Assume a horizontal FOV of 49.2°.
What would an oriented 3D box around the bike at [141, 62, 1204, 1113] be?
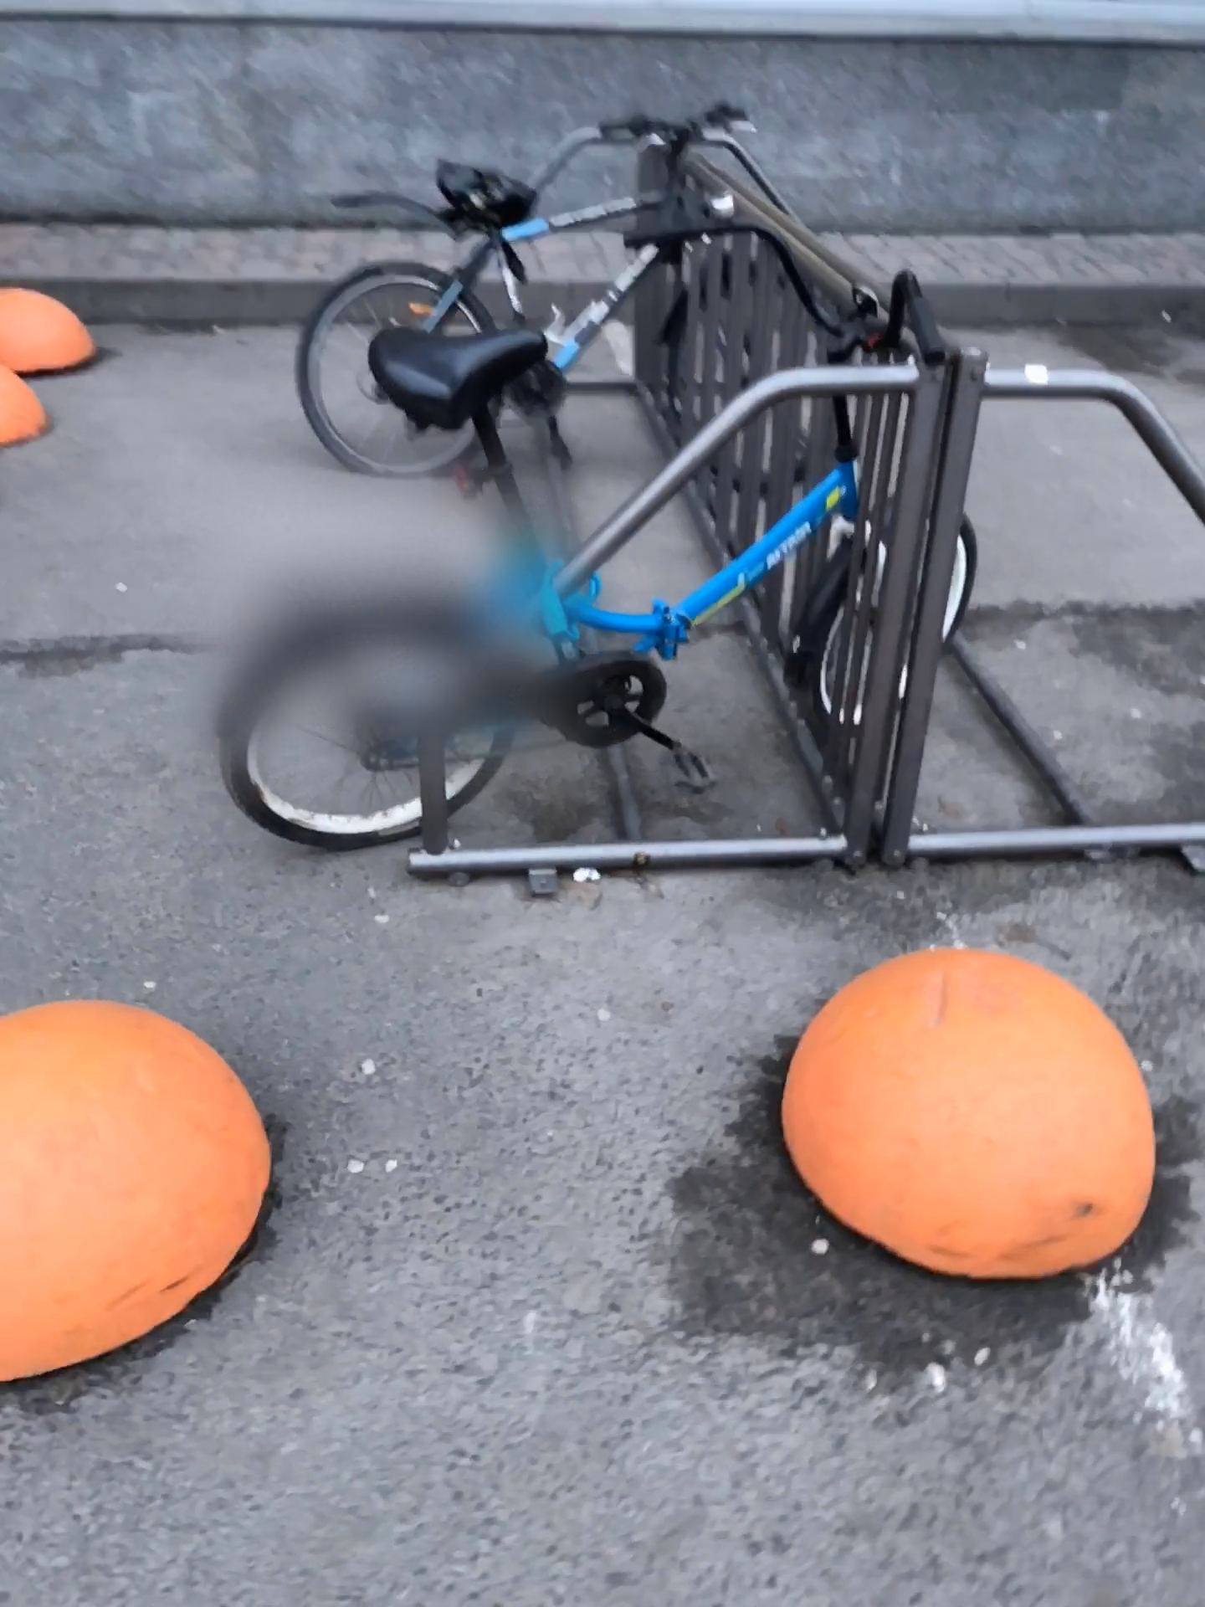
[{"bbox_3d":[0.149,-0.404,2.008,1.422,0.991,0.726,-17,37,-17],"label":"bike"}]
